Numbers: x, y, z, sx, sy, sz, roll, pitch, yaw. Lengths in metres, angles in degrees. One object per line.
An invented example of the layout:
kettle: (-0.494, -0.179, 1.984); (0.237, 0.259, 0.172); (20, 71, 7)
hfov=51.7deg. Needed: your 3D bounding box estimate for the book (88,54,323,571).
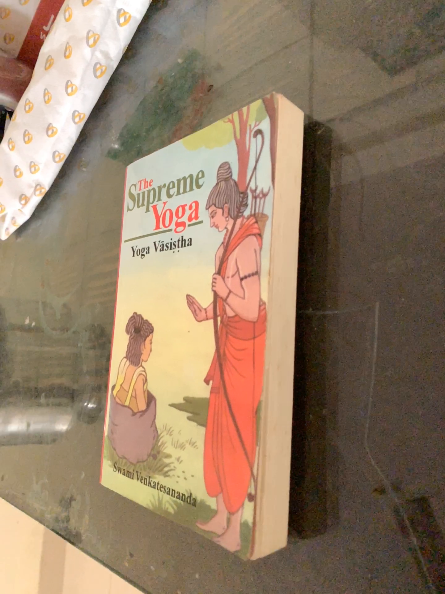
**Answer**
book: (-0.016, 0.004, 0.247); (0.141, 0.030, 0.210); (-6, 77, 47)
